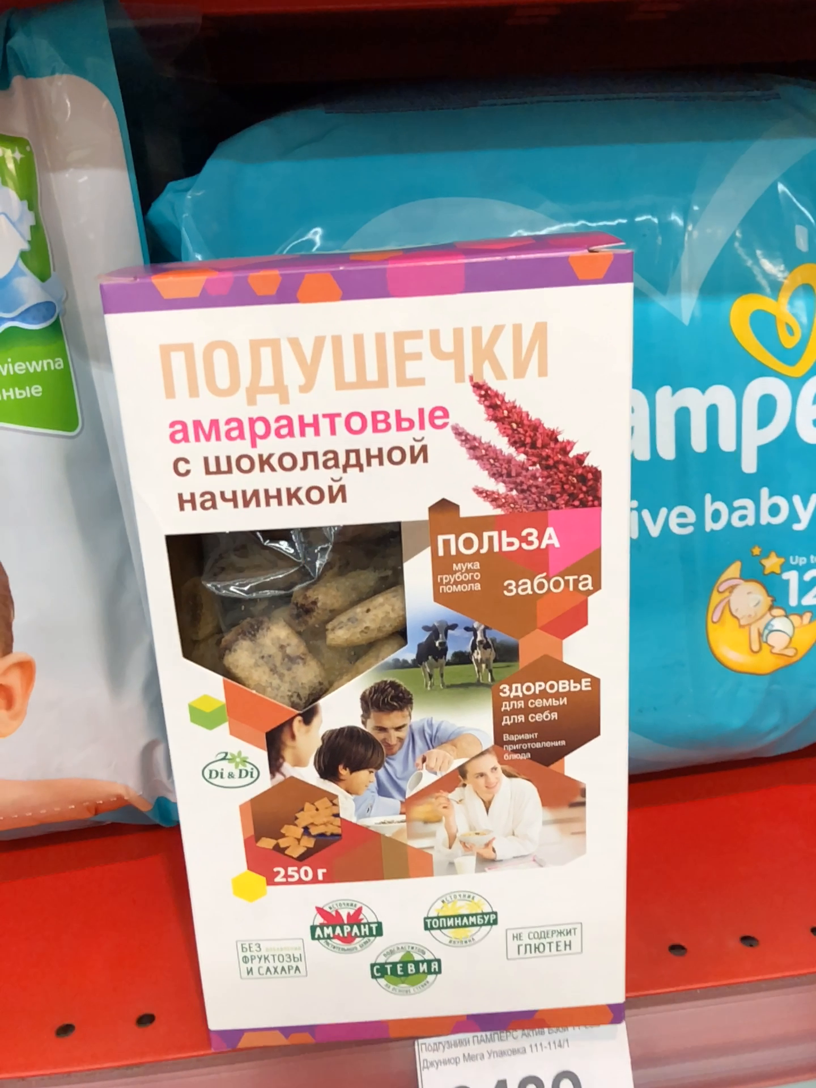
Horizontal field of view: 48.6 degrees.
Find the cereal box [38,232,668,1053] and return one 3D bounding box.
[{"bbox_3d":[-0.006,0.029,0.265,0.140,0.219,0.070,-3,17,0],"label":"cereal box"}]
